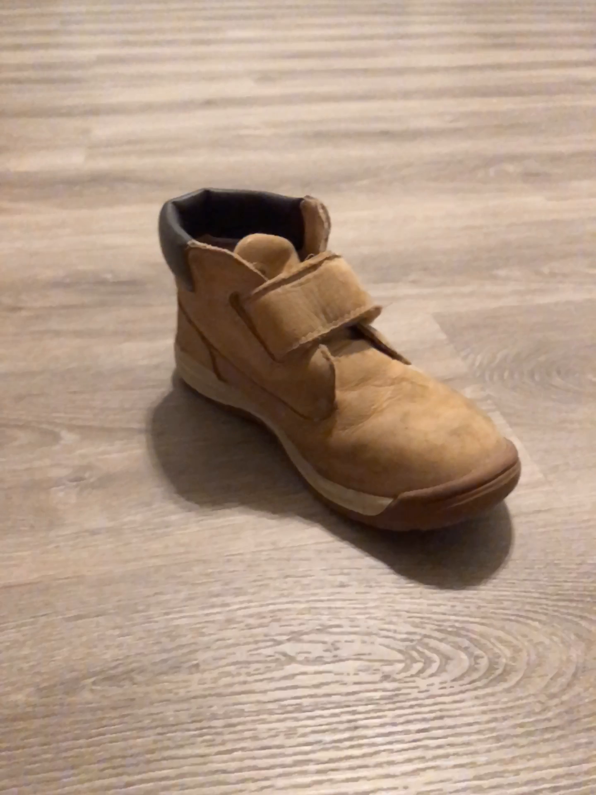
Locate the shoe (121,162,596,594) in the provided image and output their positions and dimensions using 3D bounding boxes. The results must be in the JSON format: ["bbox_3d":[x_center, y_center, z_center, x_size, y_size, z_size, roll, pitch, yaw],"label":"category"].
[{"bbox_3d":[0.016,-0.028,0.309,0.090,0.099,0.201,-27,43,-32],"label":"shoe"}]
